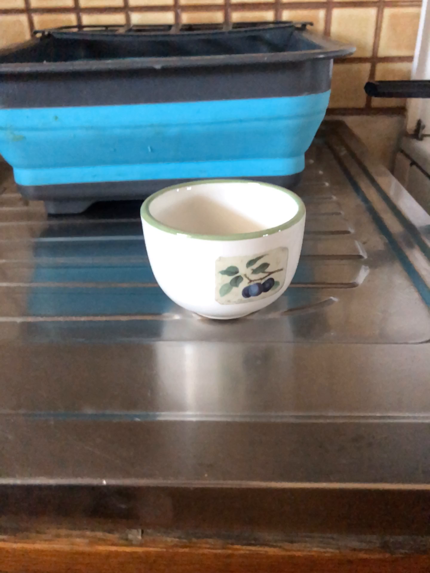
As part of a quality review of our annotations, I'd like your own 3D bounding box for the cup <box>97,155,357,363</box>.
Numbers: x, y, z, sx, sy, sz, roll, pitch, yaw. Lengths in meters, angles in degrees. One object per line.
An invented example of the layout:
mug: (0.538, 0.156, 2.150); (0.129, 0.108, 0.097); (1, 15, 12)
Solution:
cup: (0.009, -0.026, 0.273); (0.090, 0.060, 0.111); (25, 39, 36)
